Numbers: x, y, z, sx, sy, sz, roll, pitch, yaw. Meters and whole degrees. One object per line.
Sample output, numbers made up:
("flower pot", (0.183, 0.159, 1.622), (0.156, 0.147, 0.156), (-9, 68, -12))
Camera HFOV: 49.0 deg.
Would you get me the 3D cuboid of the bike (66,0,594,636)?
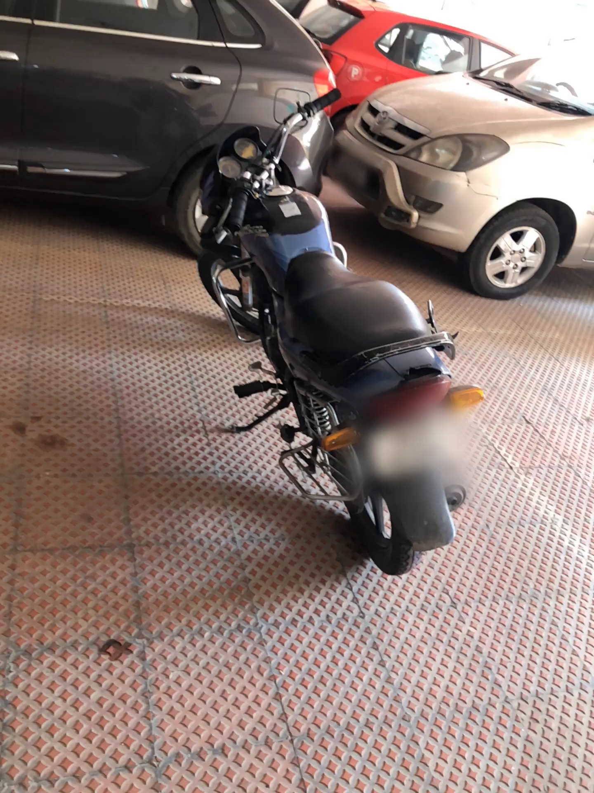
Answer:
("bike", (-0.145, -0.381, 2.037), (0.734, 1.073, 1.695), (-4, 39, -29))
